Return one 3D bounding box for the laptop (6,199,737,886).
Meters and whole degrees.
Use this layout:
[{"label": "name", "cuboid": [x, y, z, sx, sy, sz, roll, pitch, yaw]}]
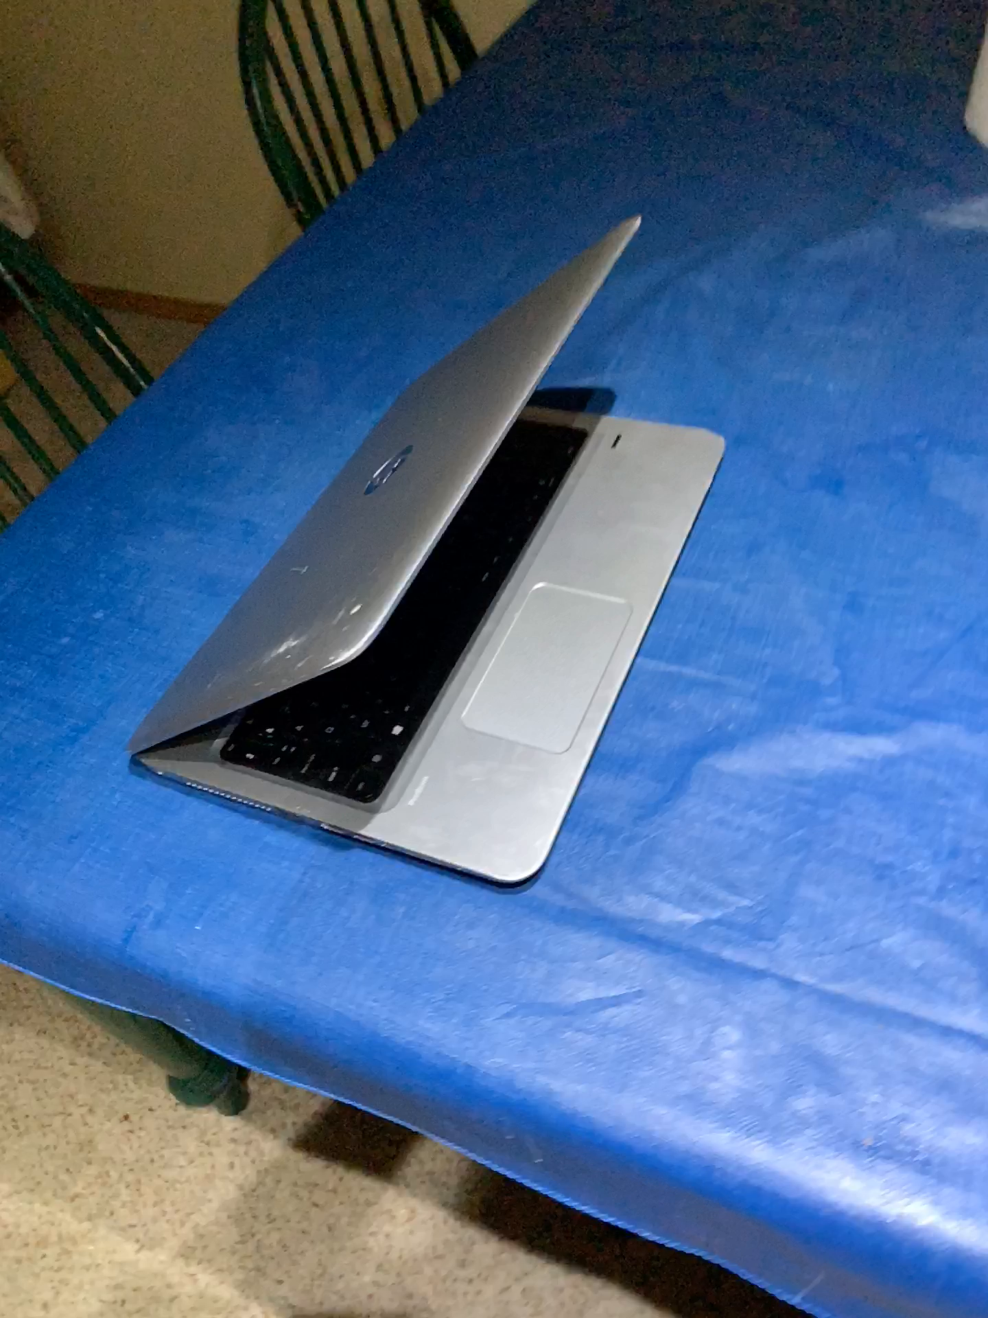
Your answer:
[{"label": "laptop", "cuboid": [-0.034, -0.099, 0.600, 0.253, 0.156, 0.367, 14, 53, 21]}]
